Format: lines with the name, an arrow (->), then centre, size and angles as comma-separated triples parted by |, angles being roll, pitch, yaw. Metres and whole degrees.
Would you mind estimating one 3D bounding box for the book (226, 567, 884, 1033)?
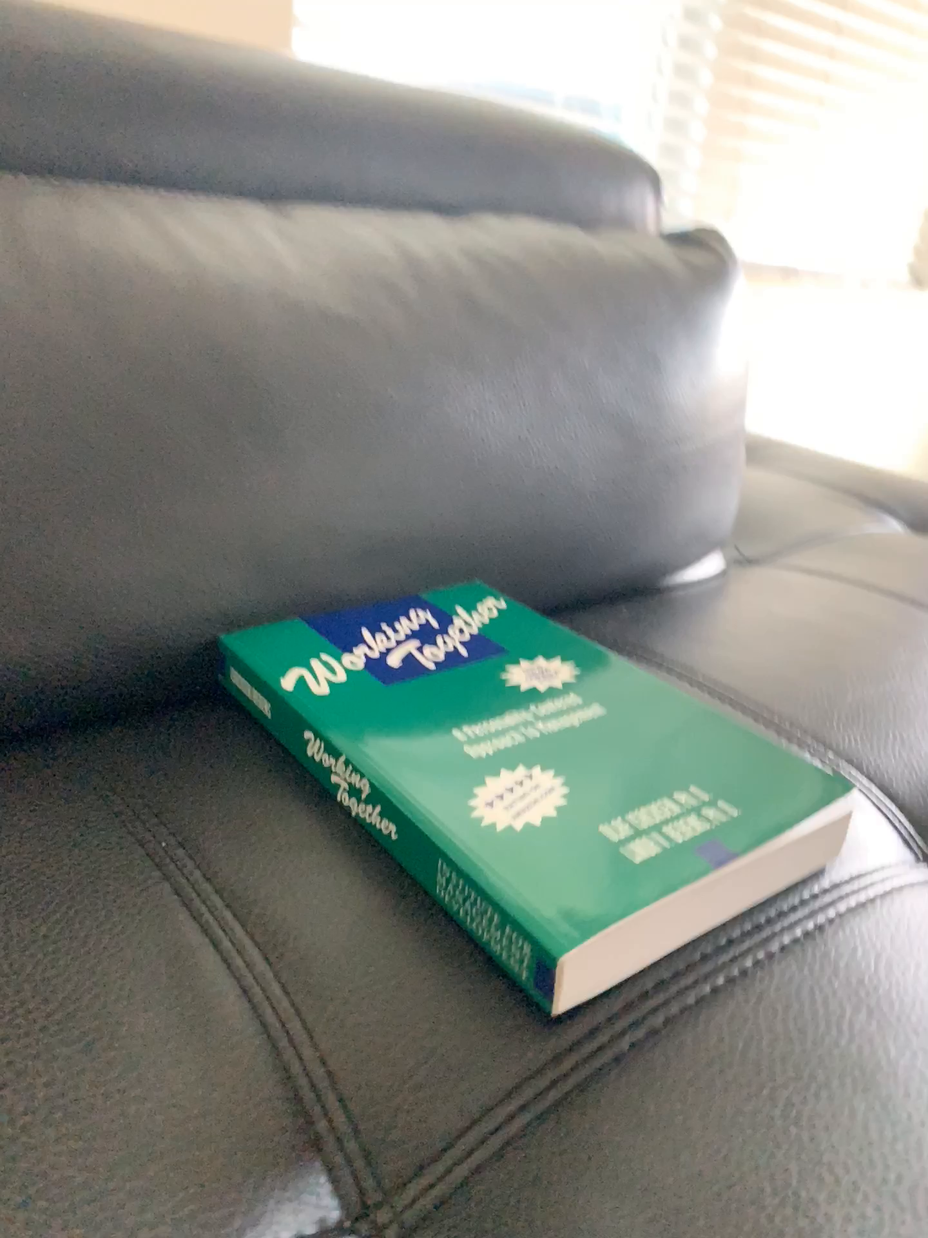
book -> 0.020, 0.042, 0.365 | 0.138, 0.033, 0.217 | -11, 29, -36
